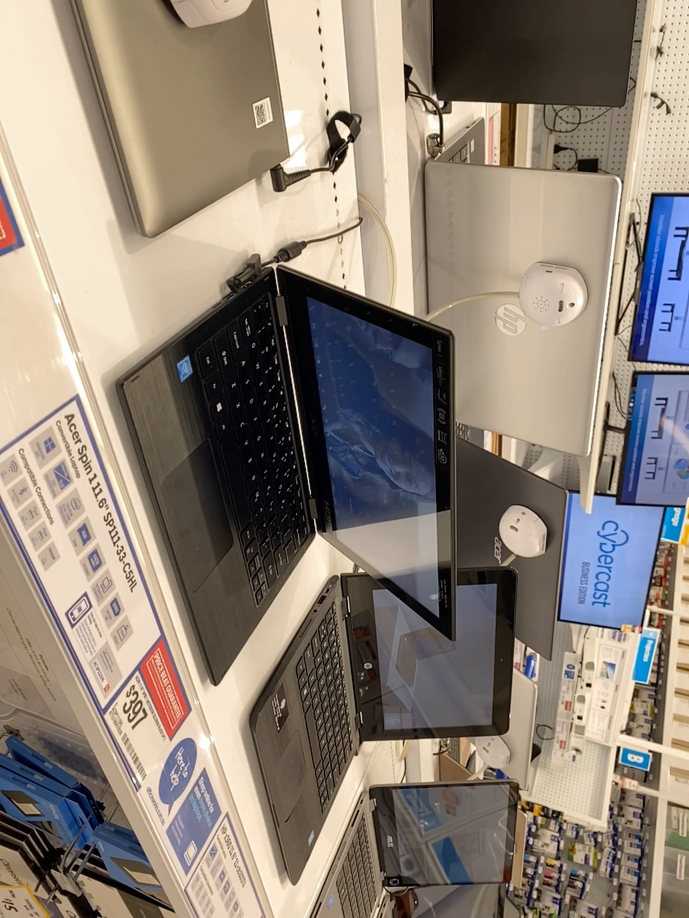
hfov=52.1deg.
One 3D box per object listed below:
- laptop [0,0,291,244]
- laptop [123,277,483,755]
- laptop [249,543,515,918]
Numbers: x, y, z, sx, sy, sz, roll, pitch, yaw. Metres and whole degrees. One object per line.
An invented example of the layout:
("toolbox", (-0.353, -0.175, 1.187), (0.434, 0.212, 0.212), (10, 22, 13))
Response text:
("laptop", (-0.099, -0.310, 0.429), (0.195, 0.001, 0.285), (-54, 143, -48))
("laptop", (-0.005, 0.036, 0.556), (0.197, 0.175, 0.291), (-53, 145, -48))
("laptop", (0.074, 0.327, 0.852), (0.297, 0.190, 0.324), (-54, 146, -48))
